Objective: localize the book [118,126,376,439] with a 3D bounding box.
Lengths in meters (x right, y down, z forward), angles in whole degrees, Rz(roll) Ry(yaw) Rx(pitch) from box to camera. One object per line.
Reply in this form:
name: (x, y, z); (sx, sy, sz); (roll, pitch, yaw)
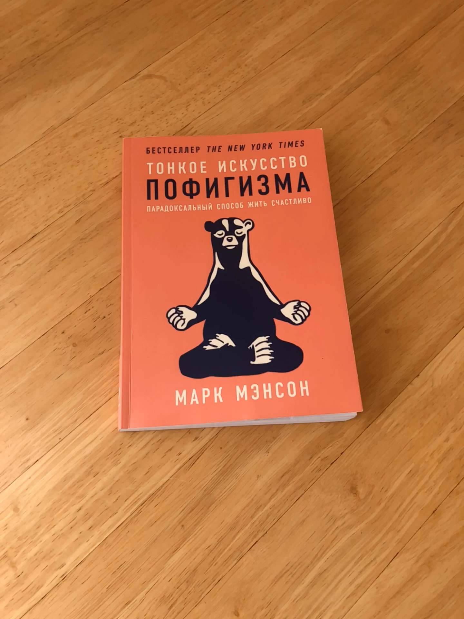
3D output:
book: (0.002, -0.024, 0.332); (0.143, 0.033, 0.197); (-3, 71, -4)
